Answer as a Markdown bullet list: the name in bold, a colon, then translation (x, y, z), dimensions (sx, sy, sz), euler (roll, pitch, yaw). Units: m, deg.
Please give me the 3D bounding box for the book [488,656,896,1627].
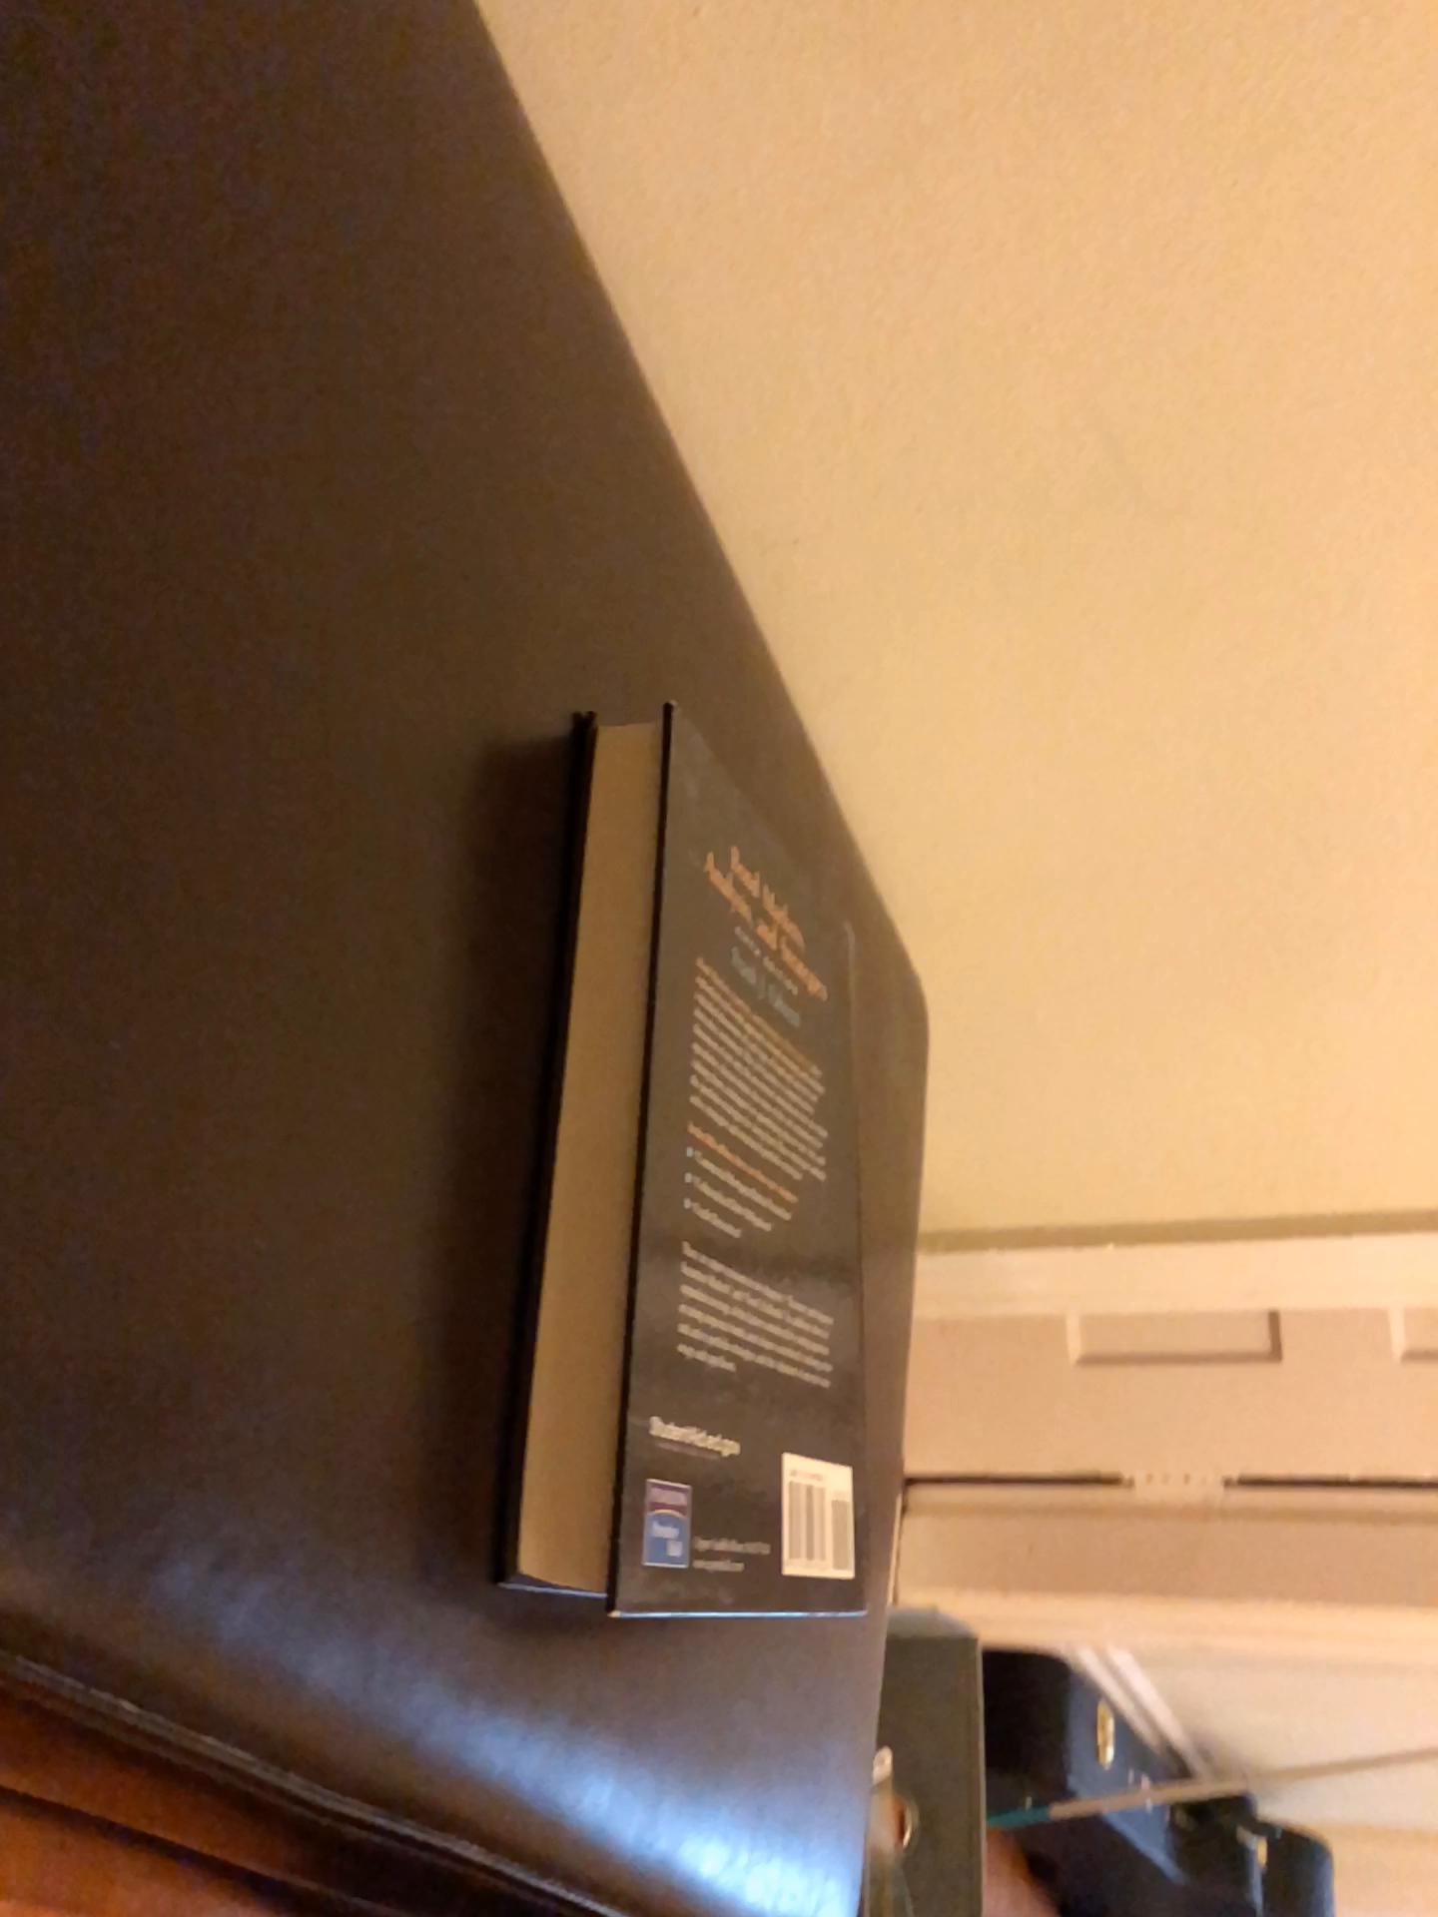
- **book**: translation (0.008, 0.071, 0.504), dimensions (0.201, 0.040, 0.260), euler (43, 45, -58)
